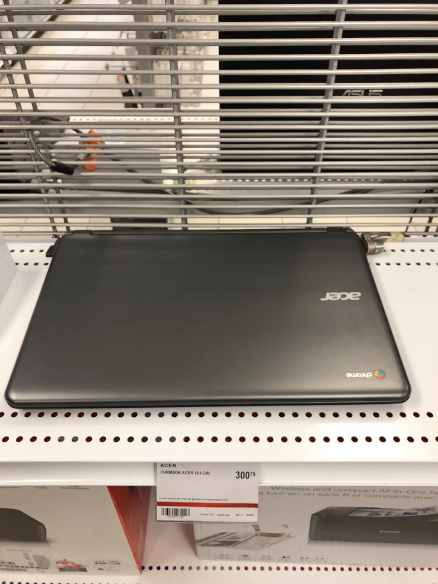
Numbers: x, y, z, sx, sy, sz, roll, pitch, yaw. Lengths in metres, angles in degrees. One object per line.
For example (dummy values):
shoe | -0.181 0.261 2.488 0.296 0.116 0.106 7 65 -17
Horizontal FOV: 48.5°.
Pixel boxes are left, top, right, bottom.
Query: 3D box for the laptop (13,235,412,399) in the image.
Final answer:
laptop | -0.012 0.012 0.531 0.367 0.001 0.238 0 44 2
